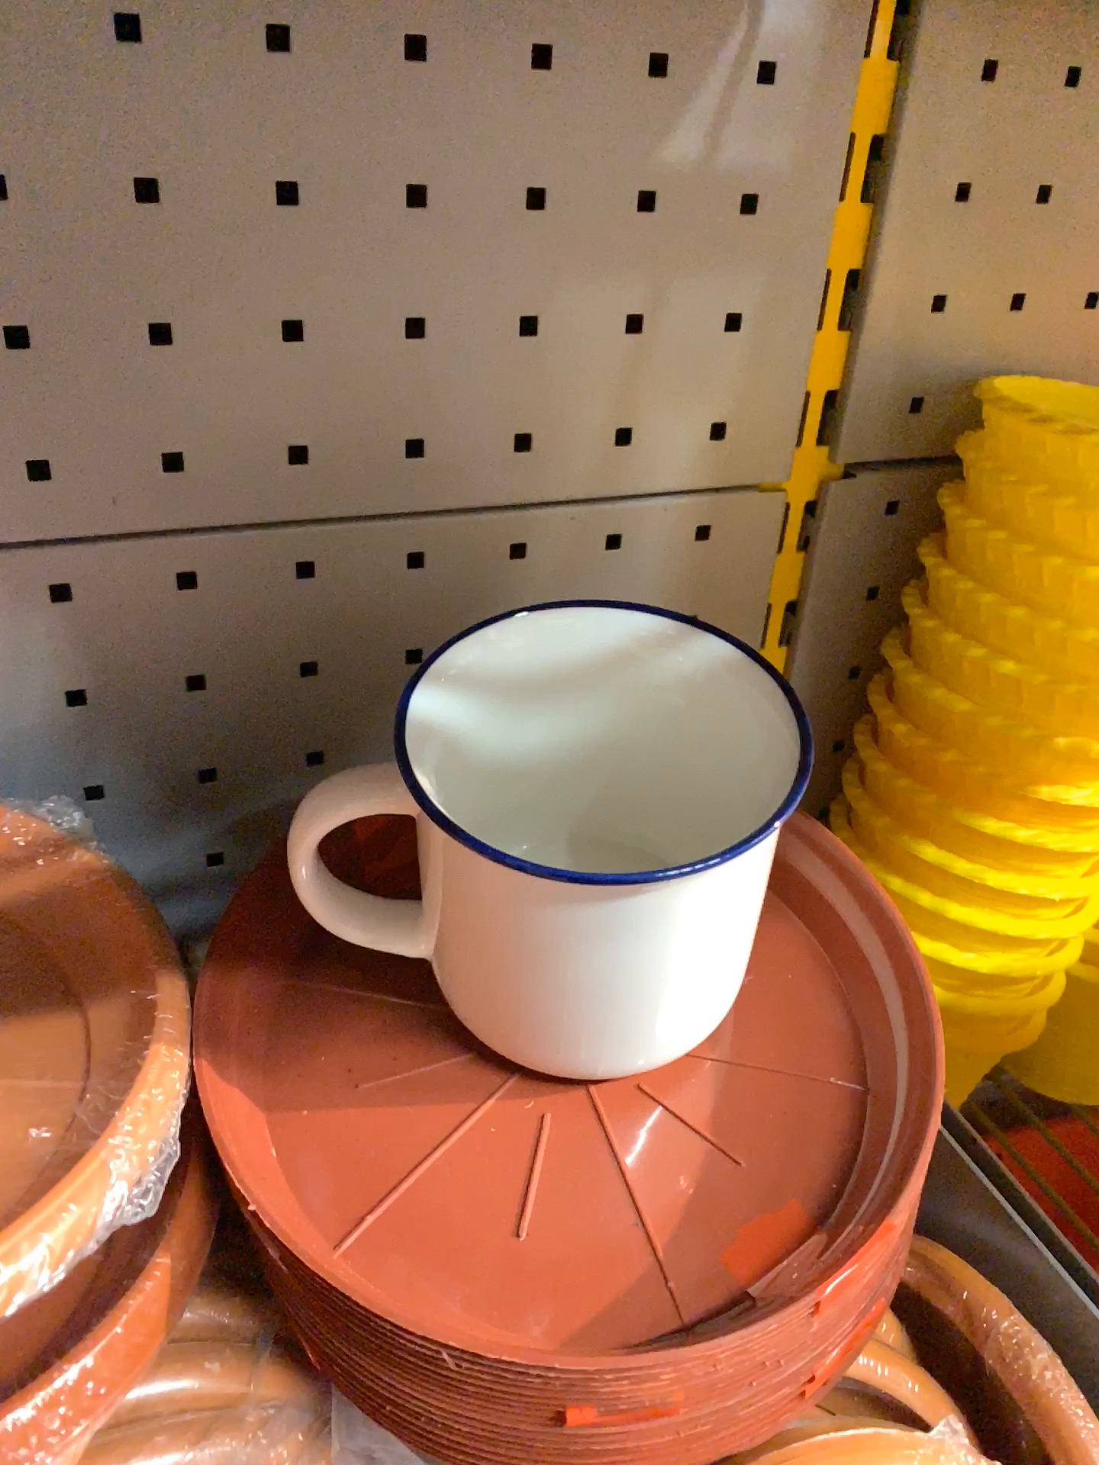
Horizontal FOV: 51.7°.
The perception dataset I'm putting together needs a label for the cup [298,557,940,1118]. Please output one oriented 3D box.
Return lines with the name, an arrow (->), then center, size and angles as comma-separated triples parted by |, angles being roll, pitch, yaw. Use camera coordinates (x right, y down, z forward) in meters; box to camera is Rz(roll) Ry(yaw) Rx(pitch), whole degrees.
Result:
cup -> 0.005, 0.022, 0.270 | 0.120, 0.090, 0.090 | -2, 44, -9
